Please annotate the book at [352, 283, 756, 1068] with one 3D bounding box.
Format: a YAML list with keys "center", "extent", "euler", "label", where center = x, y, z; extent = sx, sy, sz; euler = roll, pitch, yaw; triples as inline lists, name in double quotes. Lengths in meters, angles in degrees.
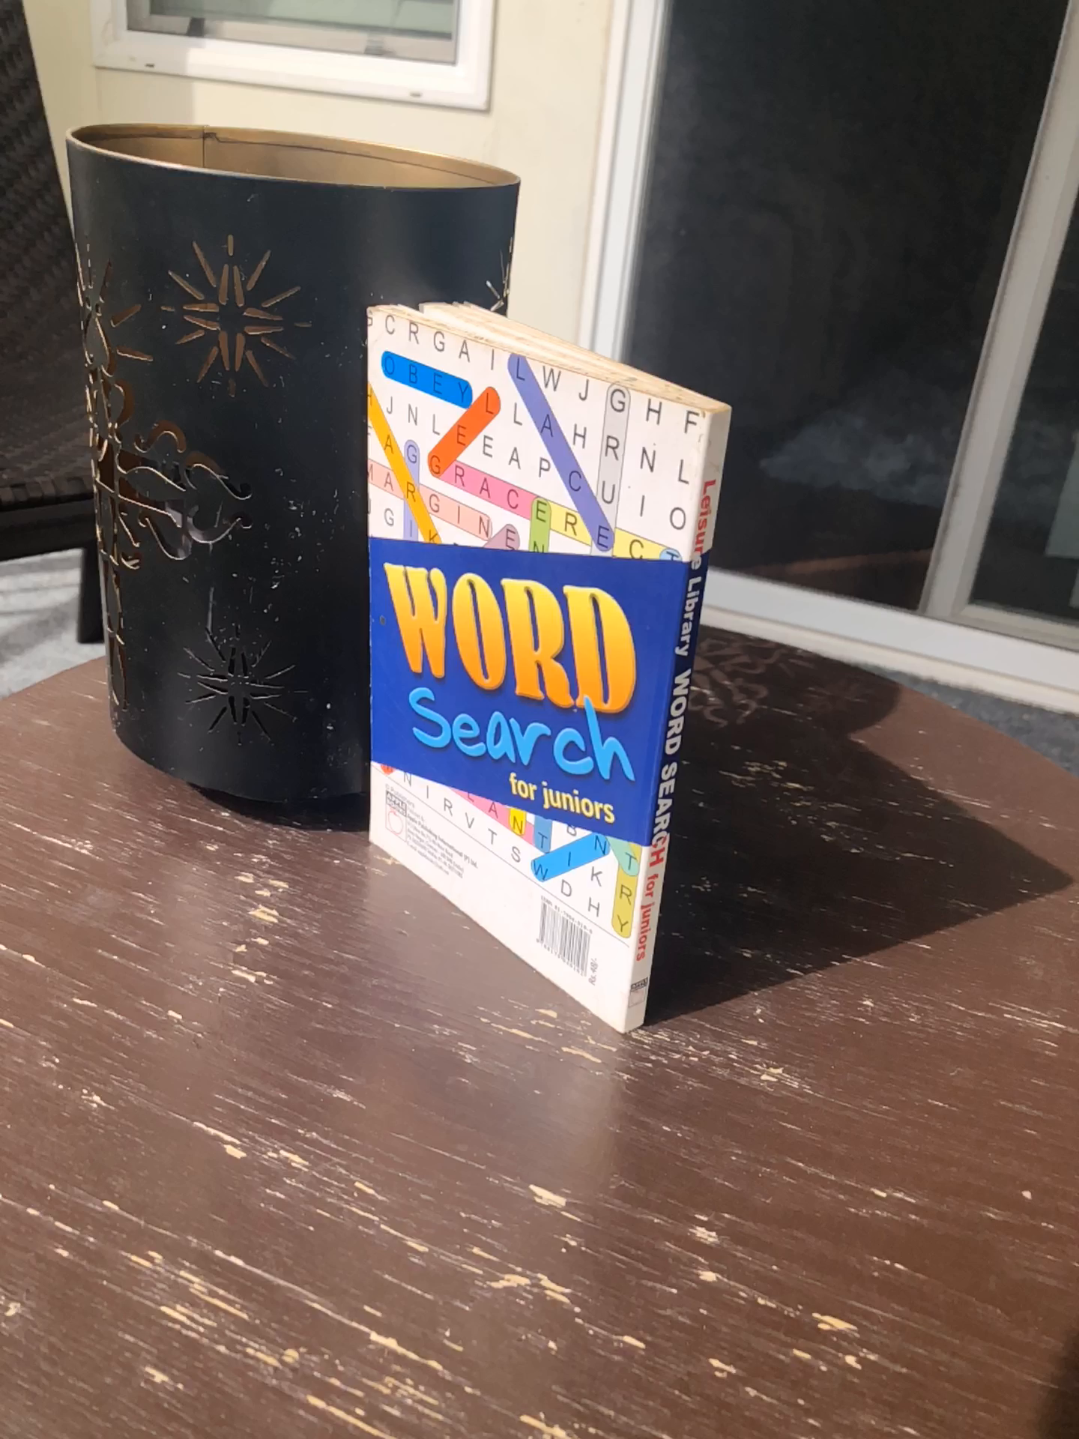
- center: [-0.006, -0.016, 0.330]
  extent: [0.031, 0.179, 0.125]
  euler: [-16, 34, -31]
  label: "book"
